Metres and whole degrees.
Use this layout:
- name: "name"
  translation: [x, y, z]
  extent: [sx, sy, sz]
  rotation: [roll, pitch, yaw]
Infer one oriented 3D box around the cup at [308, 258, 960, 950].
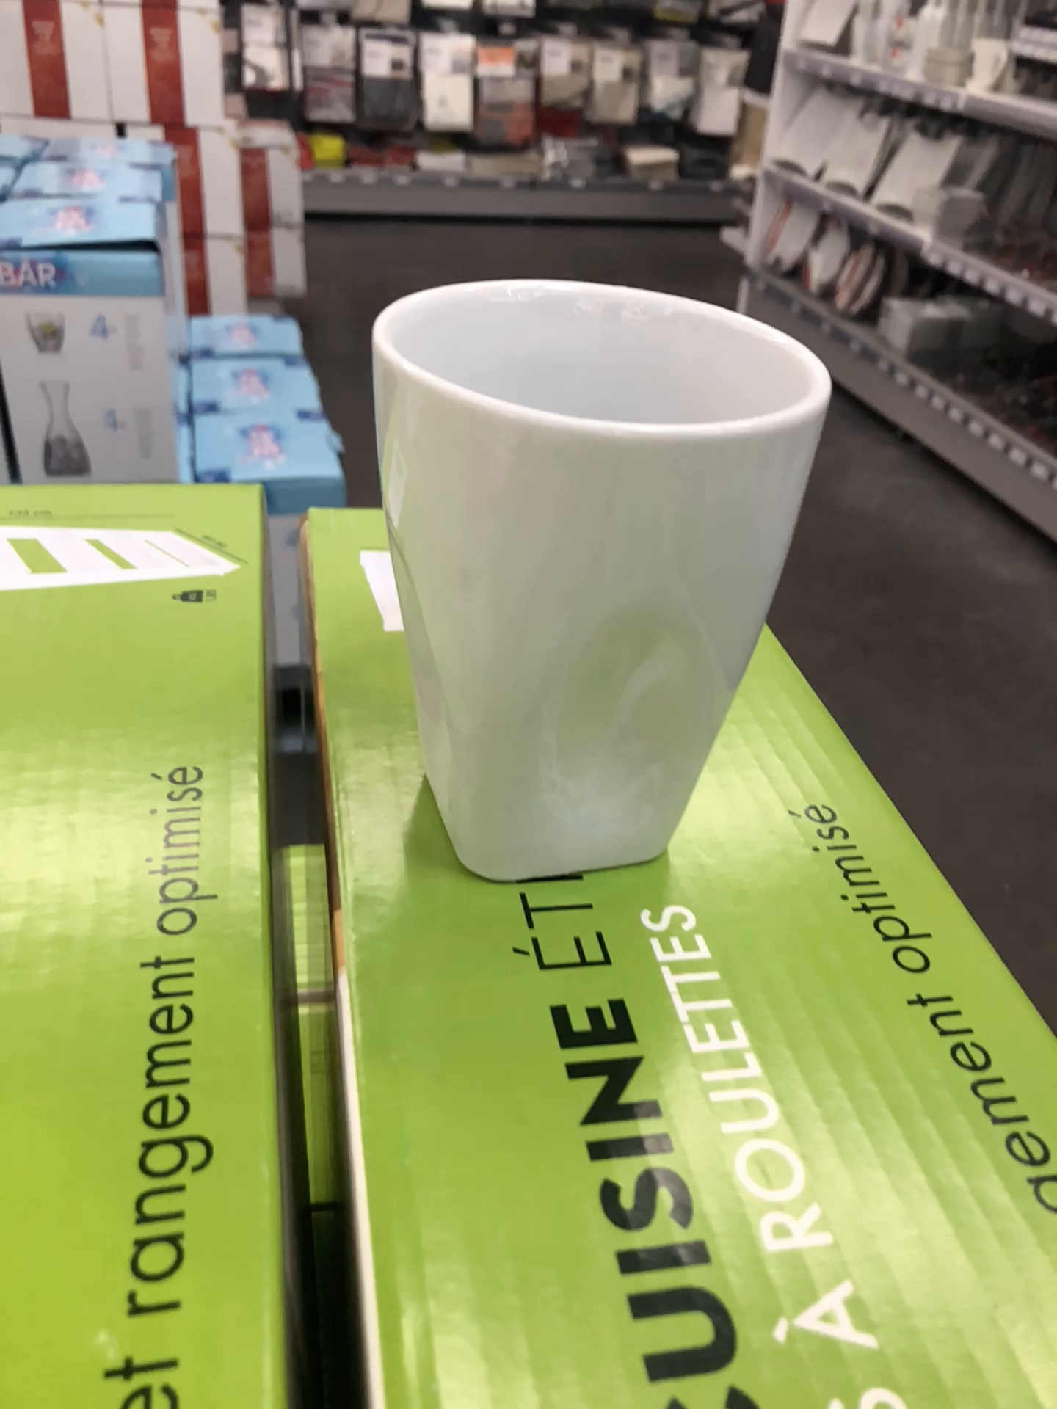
- name: "cup"
  translation: [0.007, -0.029, 0.232]
  extent: [0.083, 0.087, 0.112]
  rotation: [-6, 34, -16]
